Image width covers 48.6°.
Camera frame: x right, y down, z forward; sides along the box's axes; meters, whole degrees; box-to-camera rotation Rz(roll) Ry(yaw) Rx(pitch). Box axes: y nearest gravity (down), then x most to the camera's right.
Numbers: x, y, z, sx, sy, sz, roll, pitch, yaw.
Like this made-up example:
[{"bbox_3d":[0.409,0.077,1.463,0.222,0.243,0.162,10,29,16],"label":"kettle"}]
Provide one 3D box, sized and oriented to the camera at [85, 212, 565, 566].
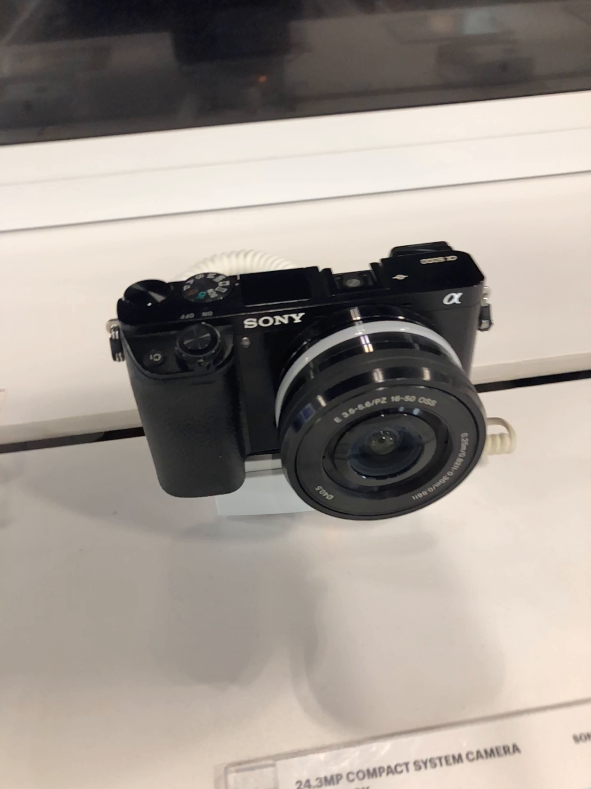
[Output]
[{"bbox_3d":[0.006,-0.004,0.210,0.120,0.070,0.070,-8,41,-4],"label":"camera"}]
